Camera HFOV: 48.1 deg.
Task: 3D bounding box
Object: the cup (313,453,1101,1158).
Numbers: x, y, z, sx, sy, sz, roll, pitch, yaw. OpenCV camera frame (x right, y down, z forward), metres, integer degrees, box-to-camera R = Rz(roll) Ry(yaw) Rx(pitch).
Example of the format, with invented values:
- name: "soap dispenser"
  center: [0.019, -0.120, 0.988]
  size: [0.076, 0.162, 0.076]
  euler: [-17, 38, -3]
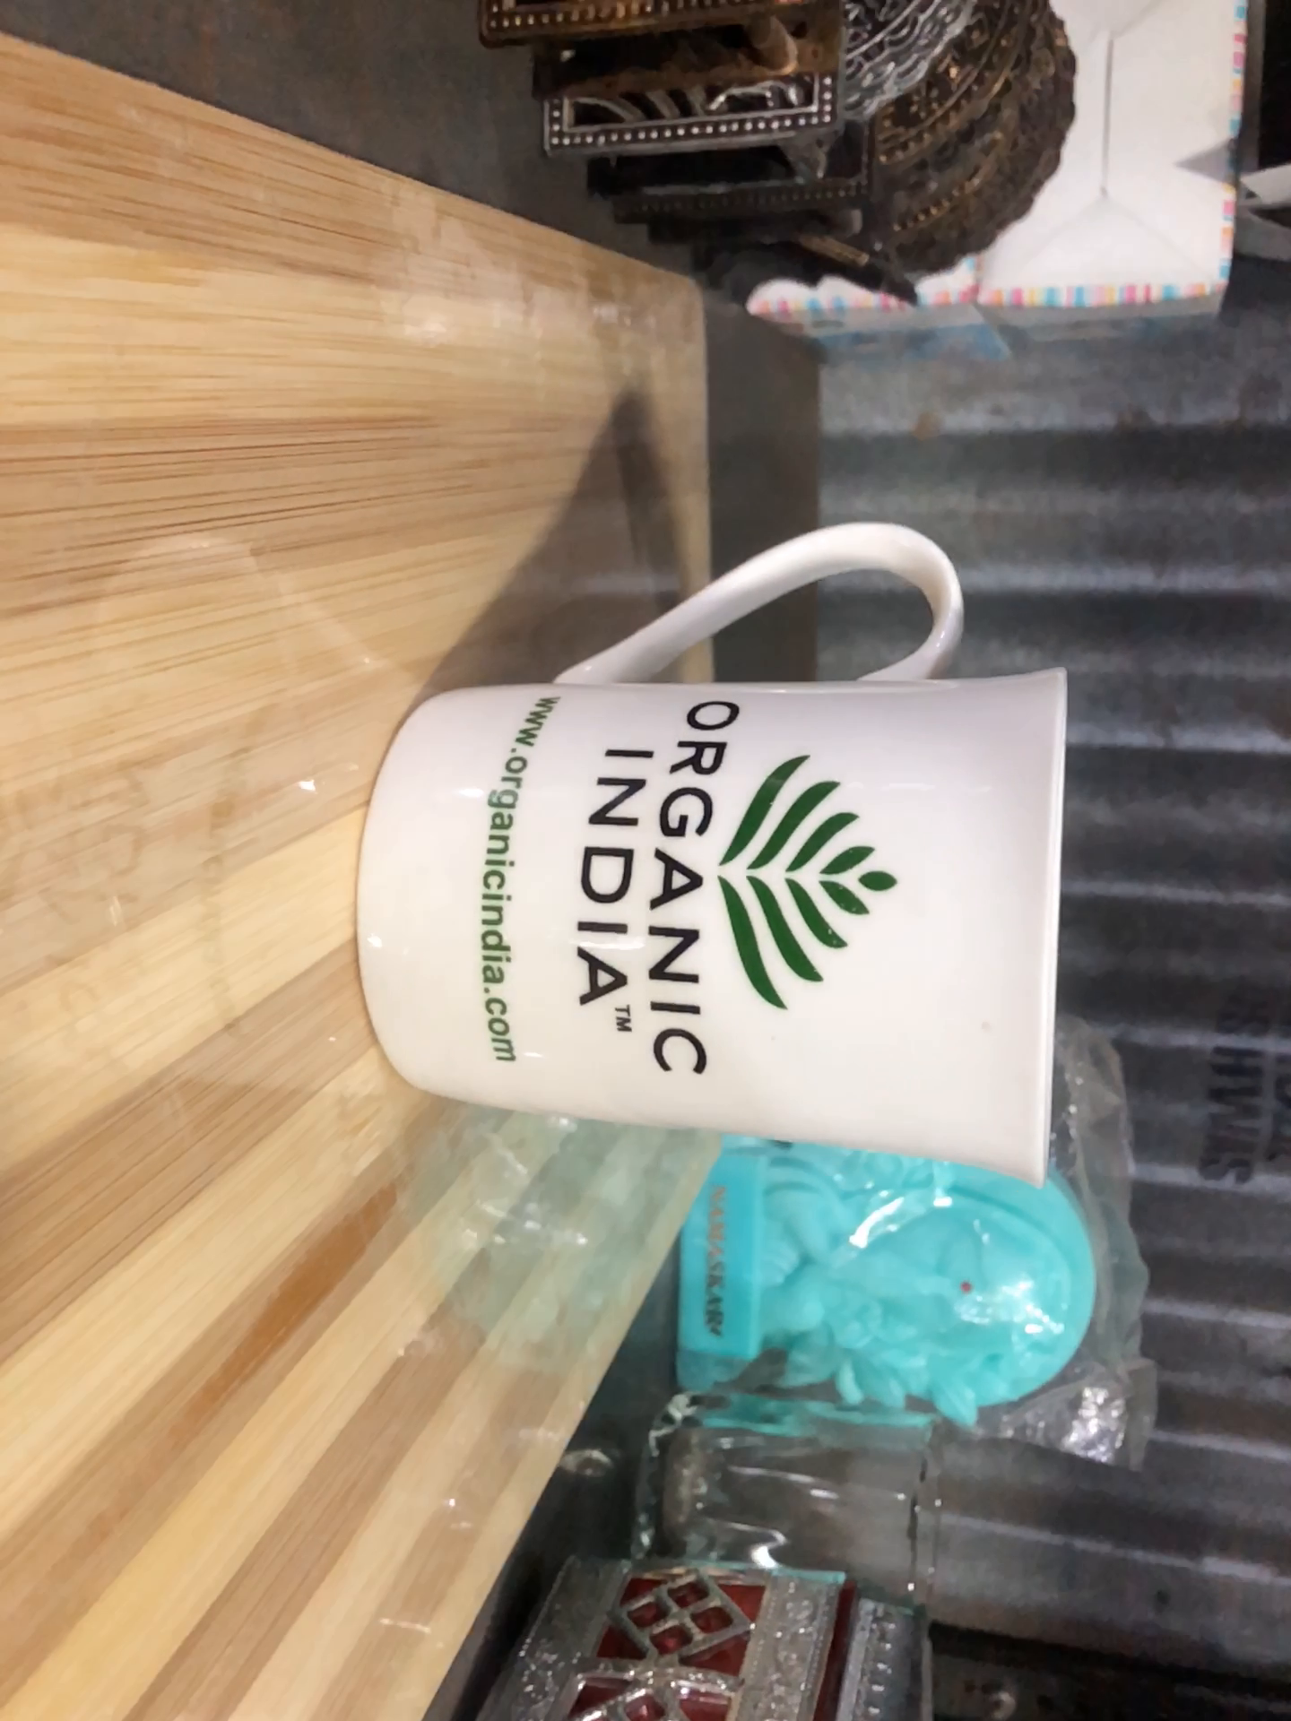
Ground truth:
- name: "cup"
  center: [0.017, -0.006, 0.247]
  size: [0.070, 0.109, 0.100]
  euler: [38, 57, -72]
